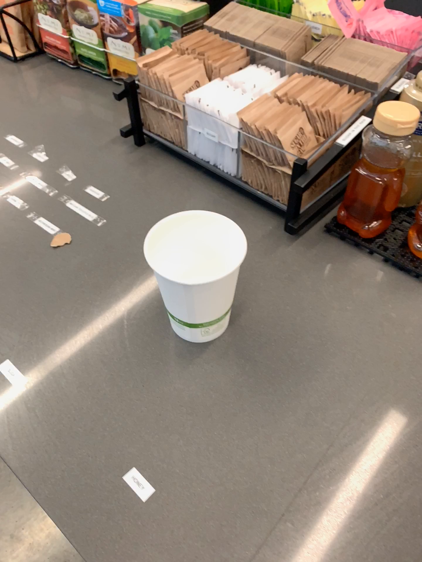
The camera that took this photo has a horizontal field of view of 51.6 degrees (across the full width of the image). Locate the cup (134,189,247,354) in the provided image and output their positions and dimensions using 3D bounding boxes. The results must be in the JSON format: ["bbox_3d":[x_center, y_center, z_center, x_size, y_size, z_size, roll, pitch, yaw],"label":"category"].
[{"bbox_3d":[-0.019,-0.006,0.400,0.080,0.119,0.080,0,49,1],"label":"cup"}]
